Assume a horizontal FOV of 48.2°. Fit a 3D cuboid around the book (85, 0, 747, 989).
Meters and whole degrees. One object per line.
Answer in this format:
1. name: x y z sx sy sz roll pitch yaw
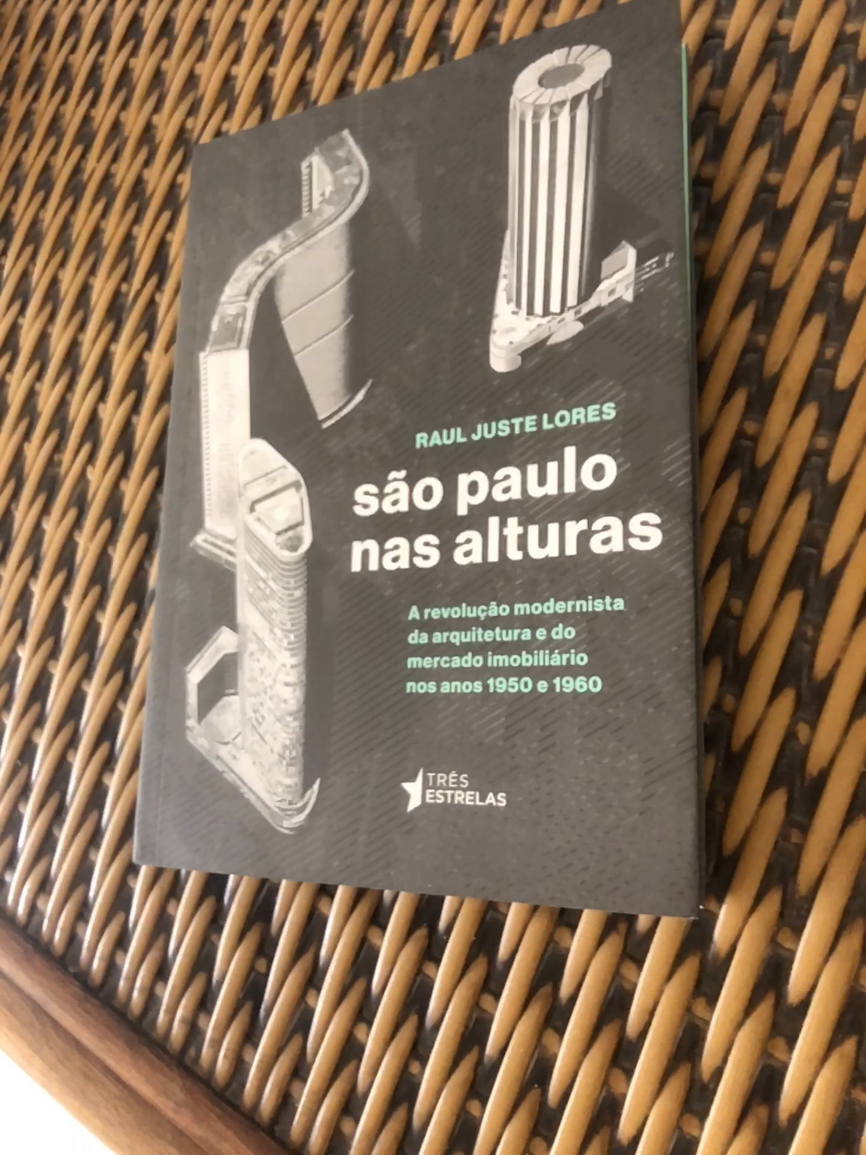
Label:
1. book: -0.007 -0.028 0.249 0.161 0.030 0.221 0 82 26
